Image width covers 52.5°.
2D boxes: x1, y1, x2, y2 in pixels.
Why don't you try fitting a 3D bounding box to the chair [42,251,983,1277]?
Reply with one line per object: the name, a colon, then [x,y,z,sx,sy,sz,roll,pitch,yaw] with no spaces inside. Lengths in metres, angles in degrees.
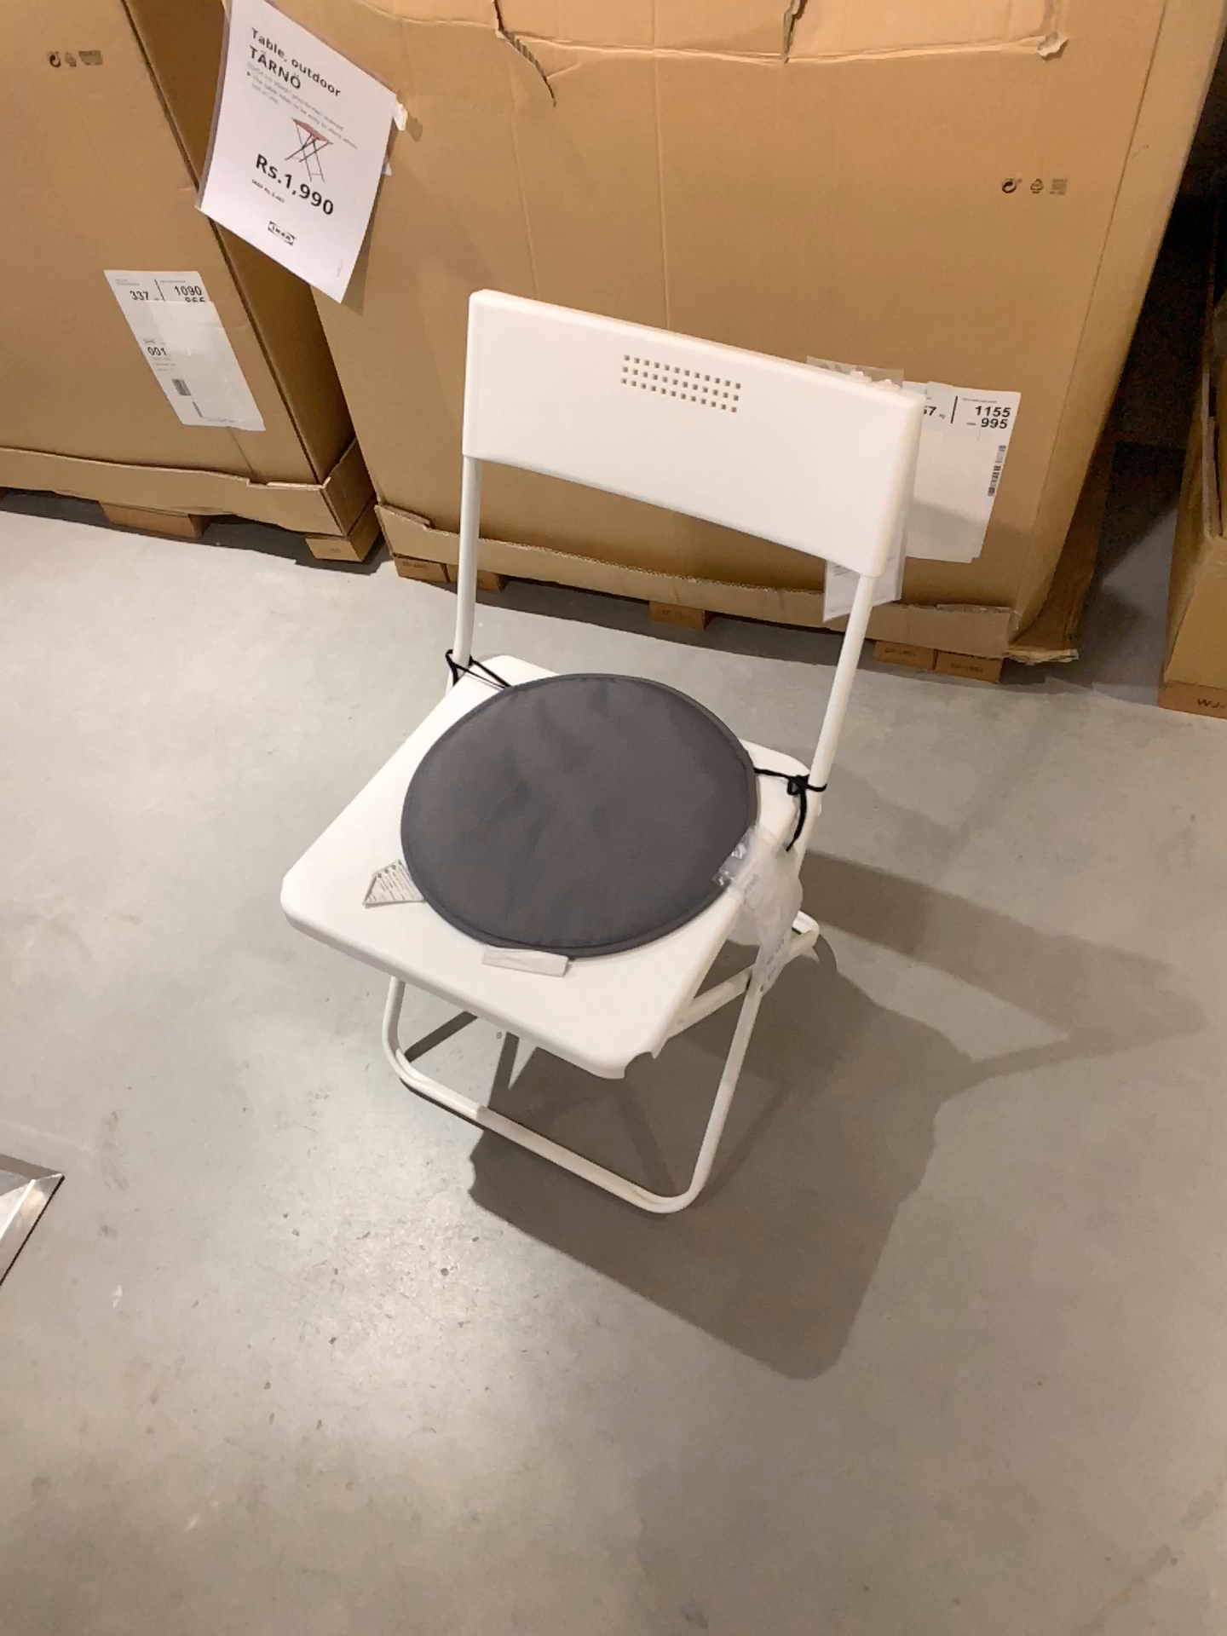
chair: [-0.030,-0.014,1.176,0.491,0.738,0.481,22,58,21]
